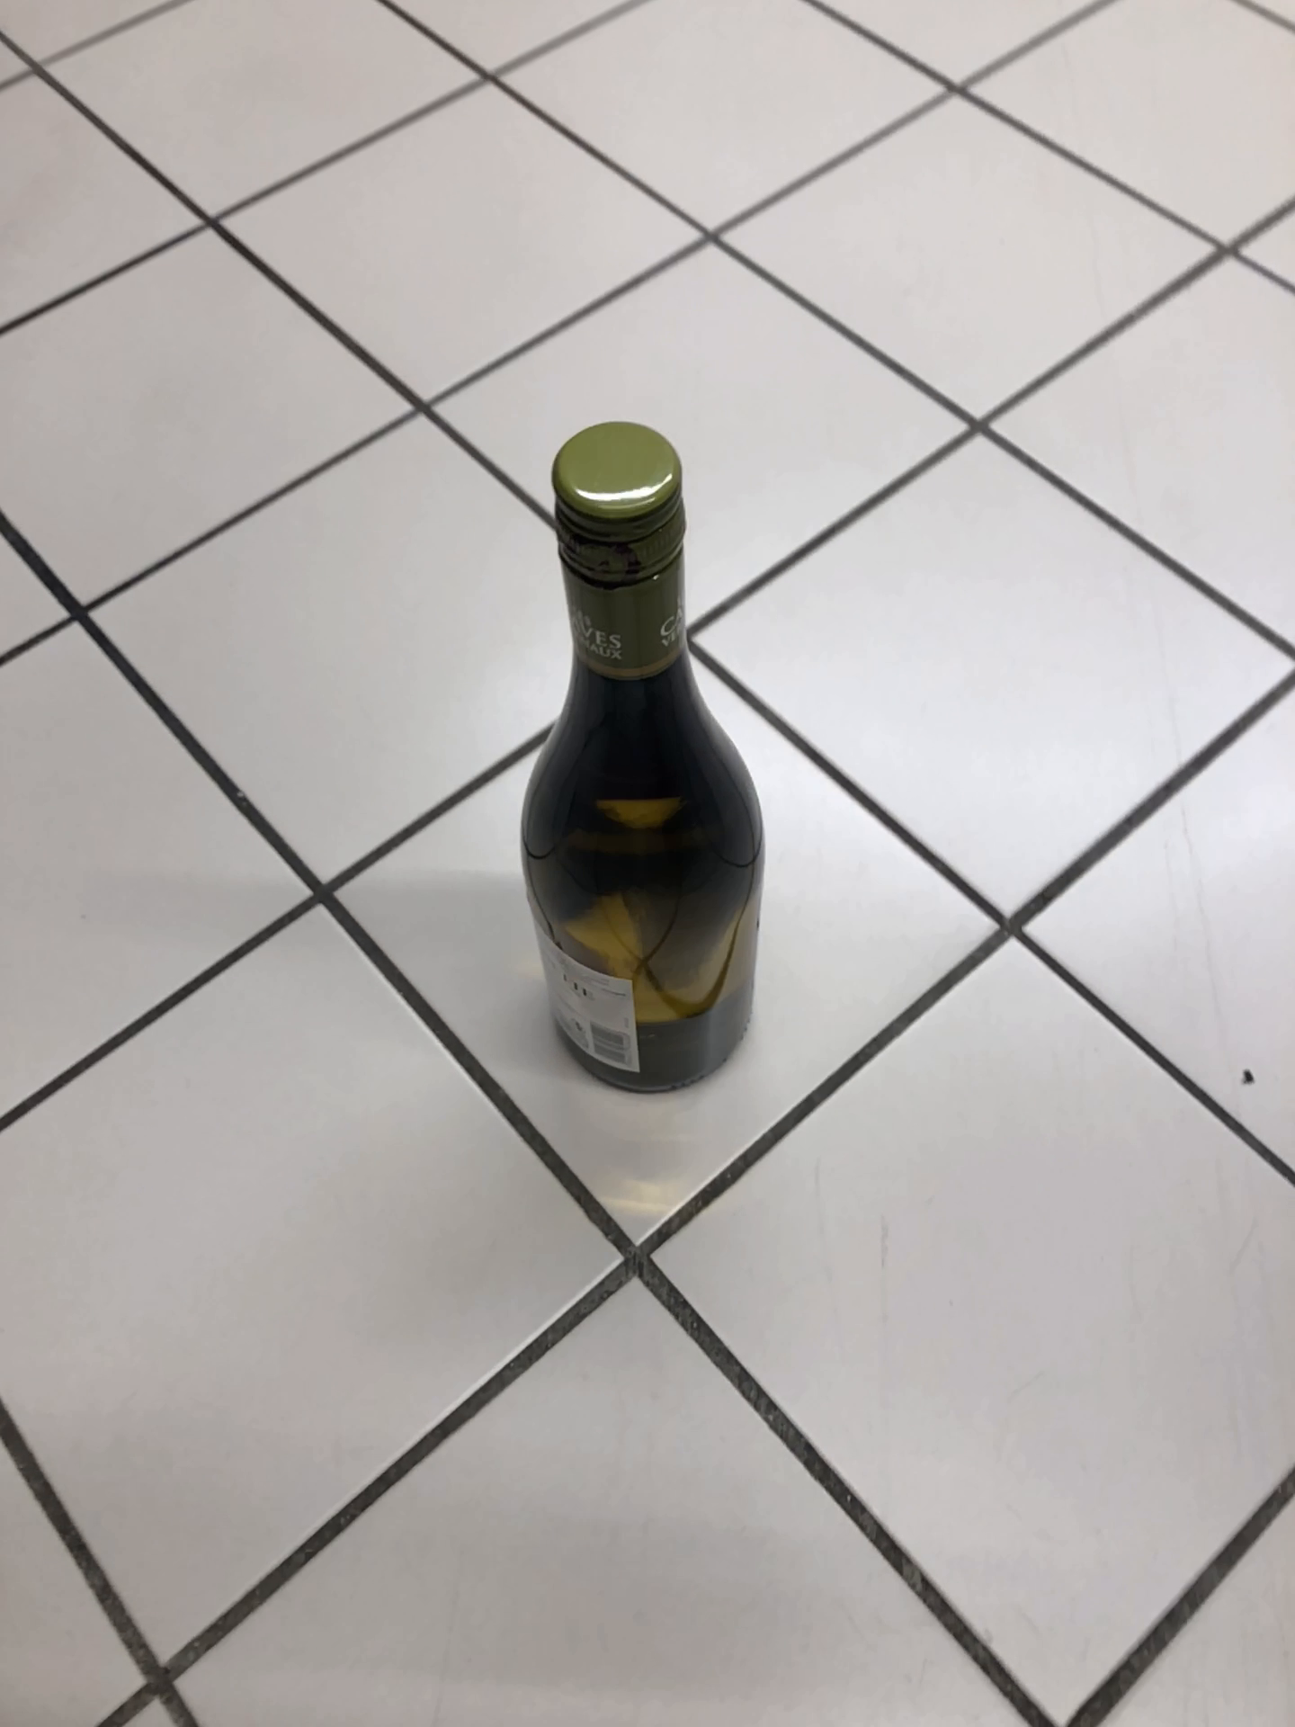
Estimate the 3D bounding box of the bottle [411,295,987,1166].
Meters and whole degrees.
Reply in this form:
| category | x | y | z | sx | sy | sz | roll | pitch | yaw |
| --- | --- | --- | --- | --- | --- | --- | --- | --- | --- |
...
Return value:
| category | x | y | z | sx | sy | sz | roll | pitch | yaw |
| --- | --- | --- | --- | --- | --- | --- | --- | --- | --- |
| bottle | 0.013 | -0.013 | 0.435 | 0.090 | 0.279 | 0.090 | -1 | 60 | 1 |
